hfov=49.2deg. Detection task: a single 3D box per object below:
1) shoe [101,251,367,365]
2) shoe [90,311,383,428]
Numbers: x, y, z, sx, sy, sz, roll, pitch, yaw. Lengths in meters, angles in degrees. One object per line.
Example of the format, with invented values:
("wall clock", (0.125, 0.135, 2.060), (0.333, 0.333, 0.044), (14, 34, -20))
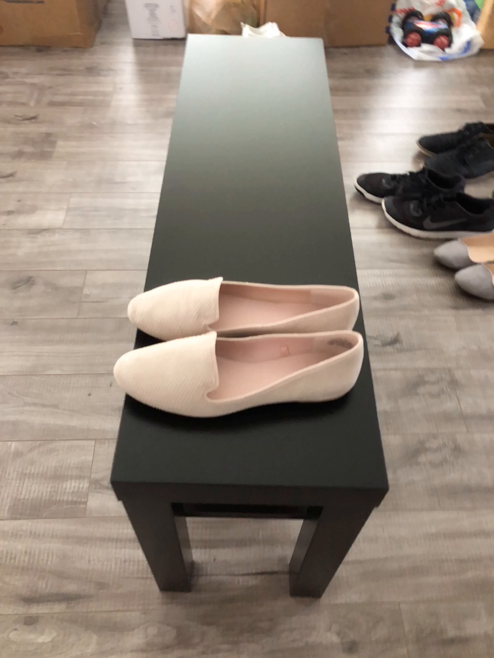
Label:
("shoe", (-0.013, -0.022, 0.579), (0.259, 0.070, 0.090), (2, 52, -1))
("shoe", (-0.011, 0.039, 0.527), (0.259, 0.070, 0.080), (-2, 52, -4))
